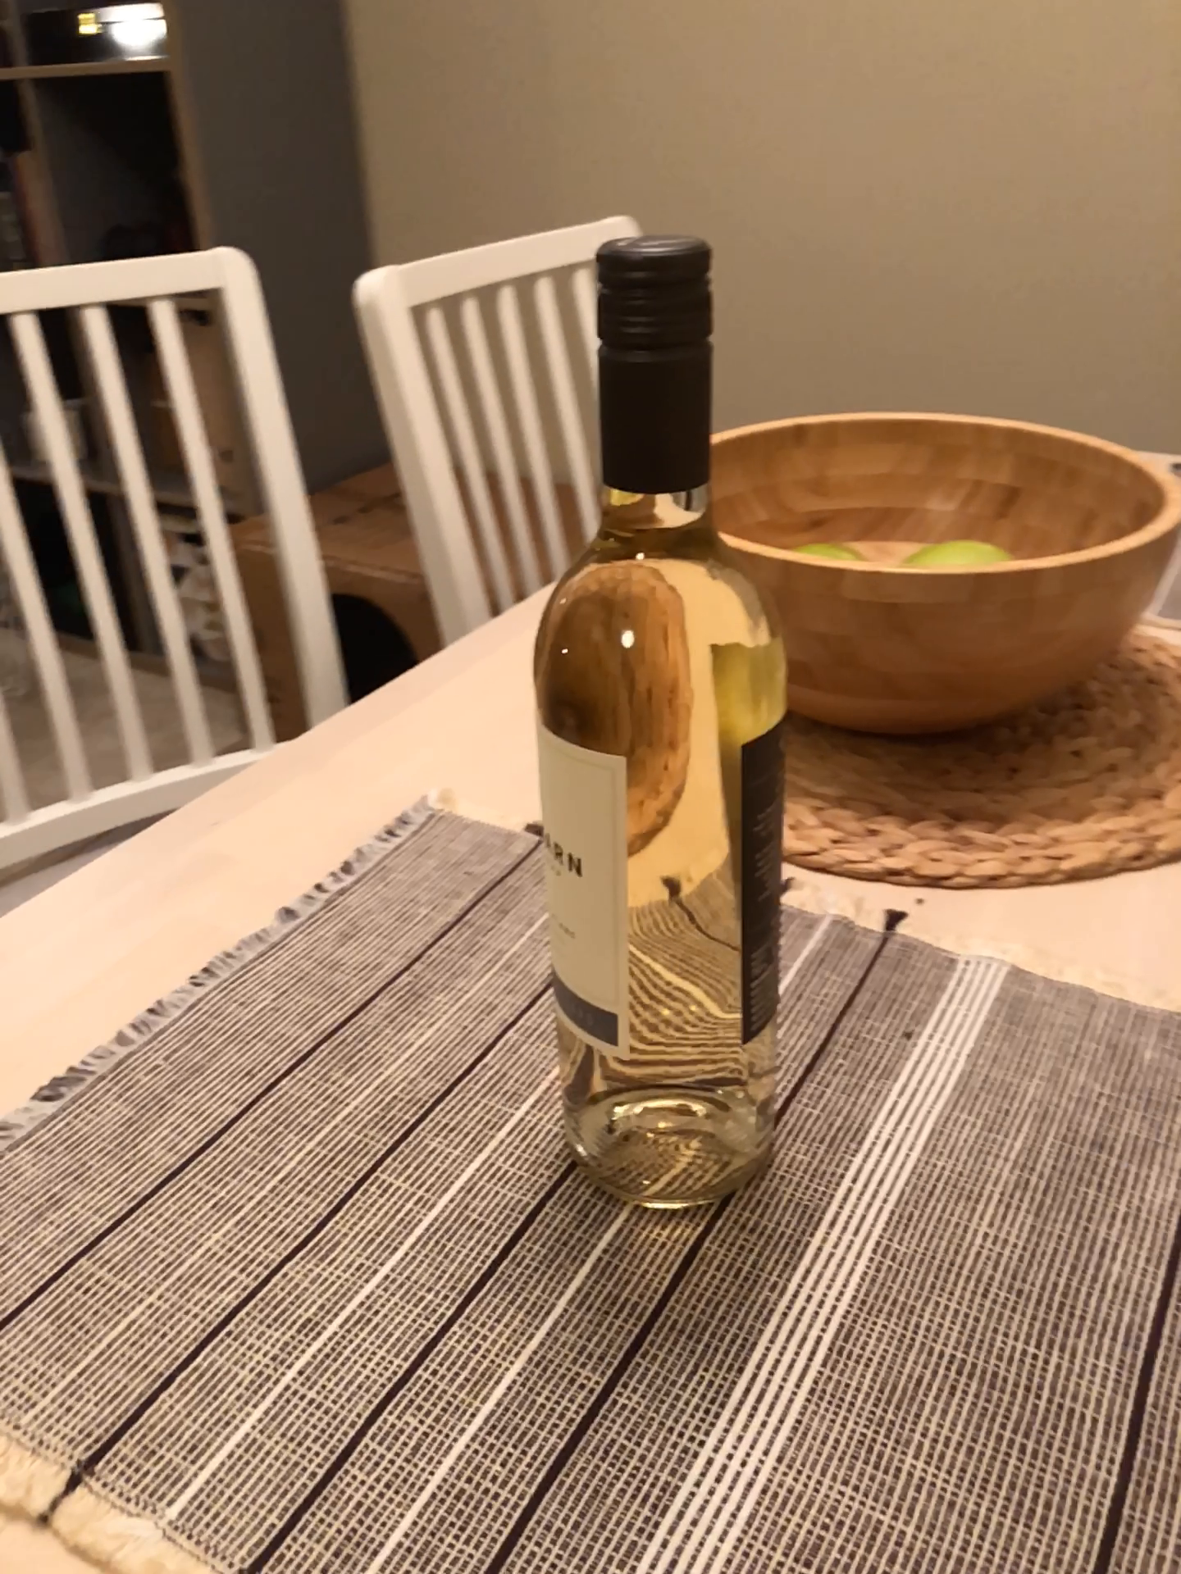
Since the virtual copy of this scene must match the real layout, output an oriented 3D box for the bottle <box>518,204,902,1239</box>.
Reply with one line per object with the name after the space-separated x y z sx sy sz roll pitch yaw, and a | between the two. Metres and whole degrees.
0.030 -0.007 0.390 0.080 0.298 0.080 -2 28 1 | bottle
